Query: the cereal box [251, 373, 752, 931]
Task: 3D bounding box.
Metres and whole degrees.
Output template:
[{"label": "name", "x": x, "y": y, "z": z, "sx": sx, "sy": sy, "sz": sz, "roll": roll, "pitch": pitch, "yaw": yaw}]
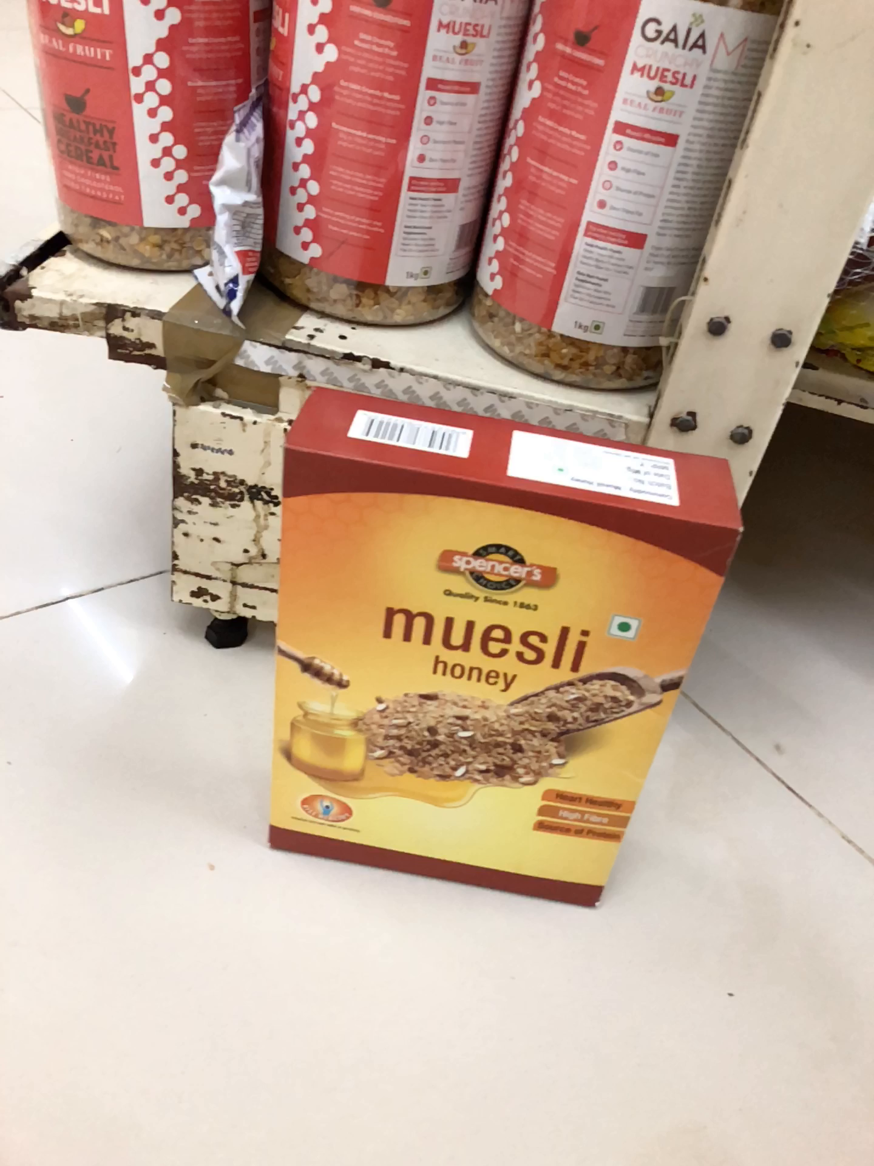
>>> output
[{"label": "cereal box", "x": 0.012, "y": 0.047, "z": 0.460, "sx": 0.190, "sy": 0.258, "sz": 0.060, "roll": 11, "pitch": 37, "yaw": 3}]
